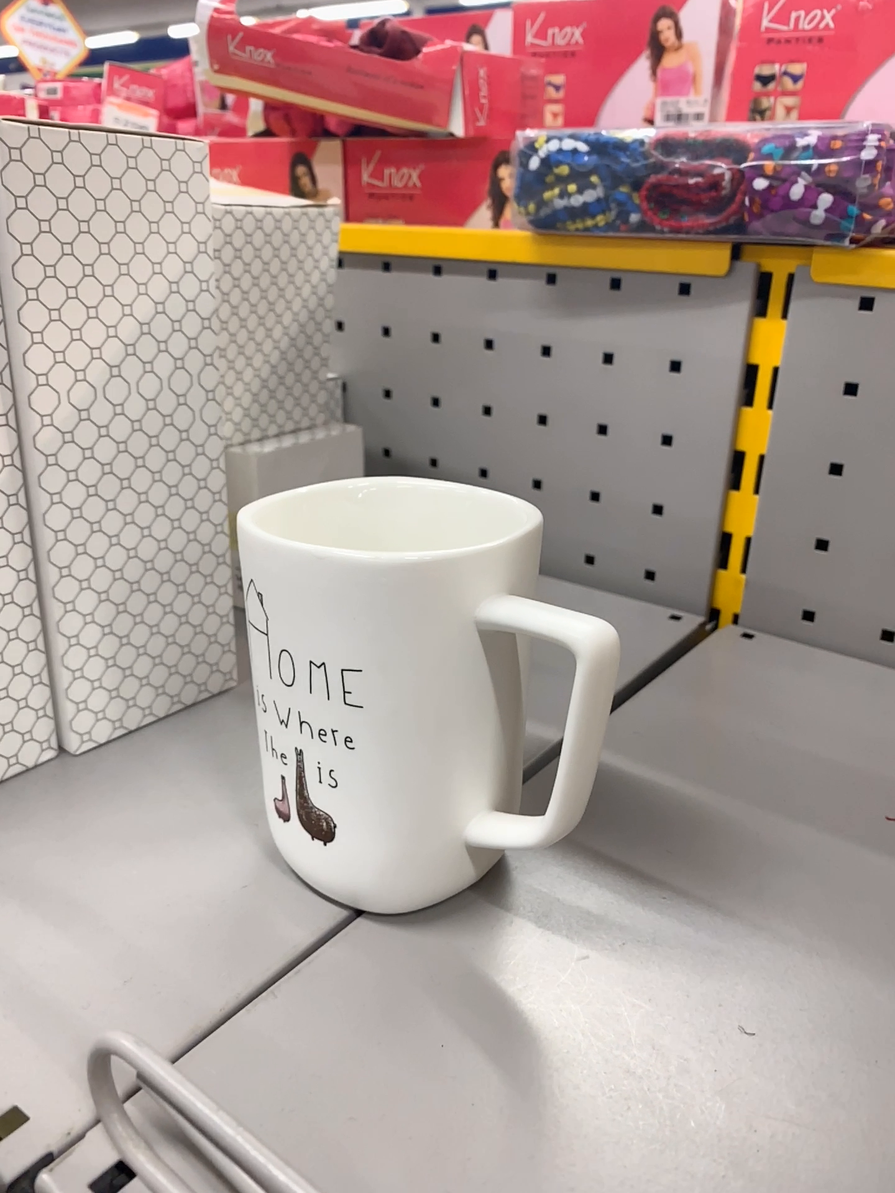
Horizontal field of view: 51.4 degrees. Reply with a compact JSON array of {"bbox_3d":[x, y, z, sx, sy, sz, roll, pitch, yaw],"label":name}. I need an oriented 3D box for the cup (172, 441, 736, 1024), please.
[{"bbox_3d":[-0.002,0.023,0.246,0.120,0.100,0.070,17,26,32],"label":"cup"}]
